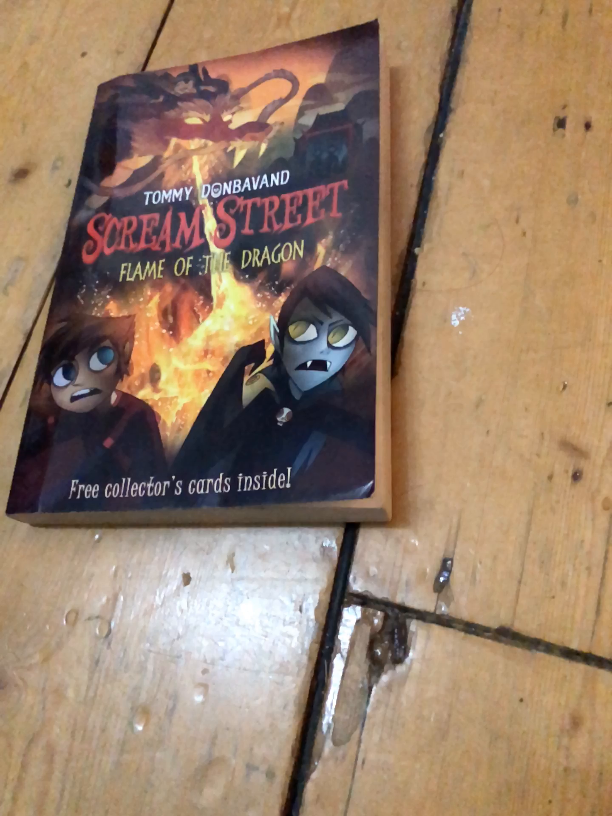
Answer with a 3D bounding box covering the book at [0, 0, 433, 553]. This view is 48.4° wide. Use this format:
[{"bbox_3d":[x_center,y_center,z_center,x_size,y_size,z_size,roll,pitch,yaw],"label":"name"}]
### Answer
[{"bbox_3d":[-0.024,-0.052,0.250,0.130,0.040,0.201,-3,66,13],"label":"book"}]
